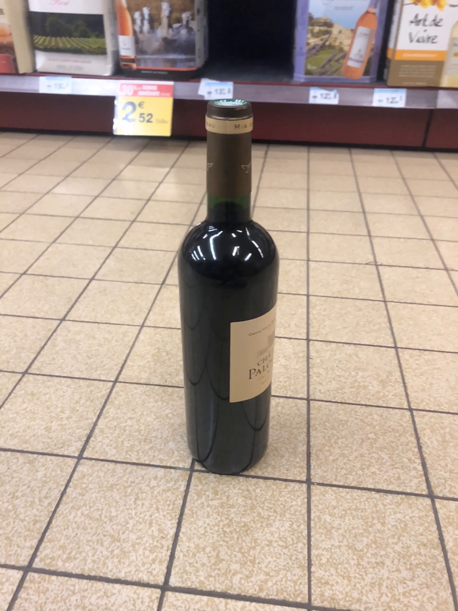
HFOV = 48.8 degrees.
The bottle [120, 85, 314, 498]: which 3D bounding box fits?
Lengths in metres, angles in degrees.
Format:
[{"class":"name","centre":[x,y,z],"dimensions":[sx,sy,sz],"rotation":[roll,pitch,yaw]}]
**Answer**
[{"class":"bottle","centre":[-0.006,0.002,0.372],"dimensions":[0.090,0.288,0.081],"rotation":[12,34,17]}]
